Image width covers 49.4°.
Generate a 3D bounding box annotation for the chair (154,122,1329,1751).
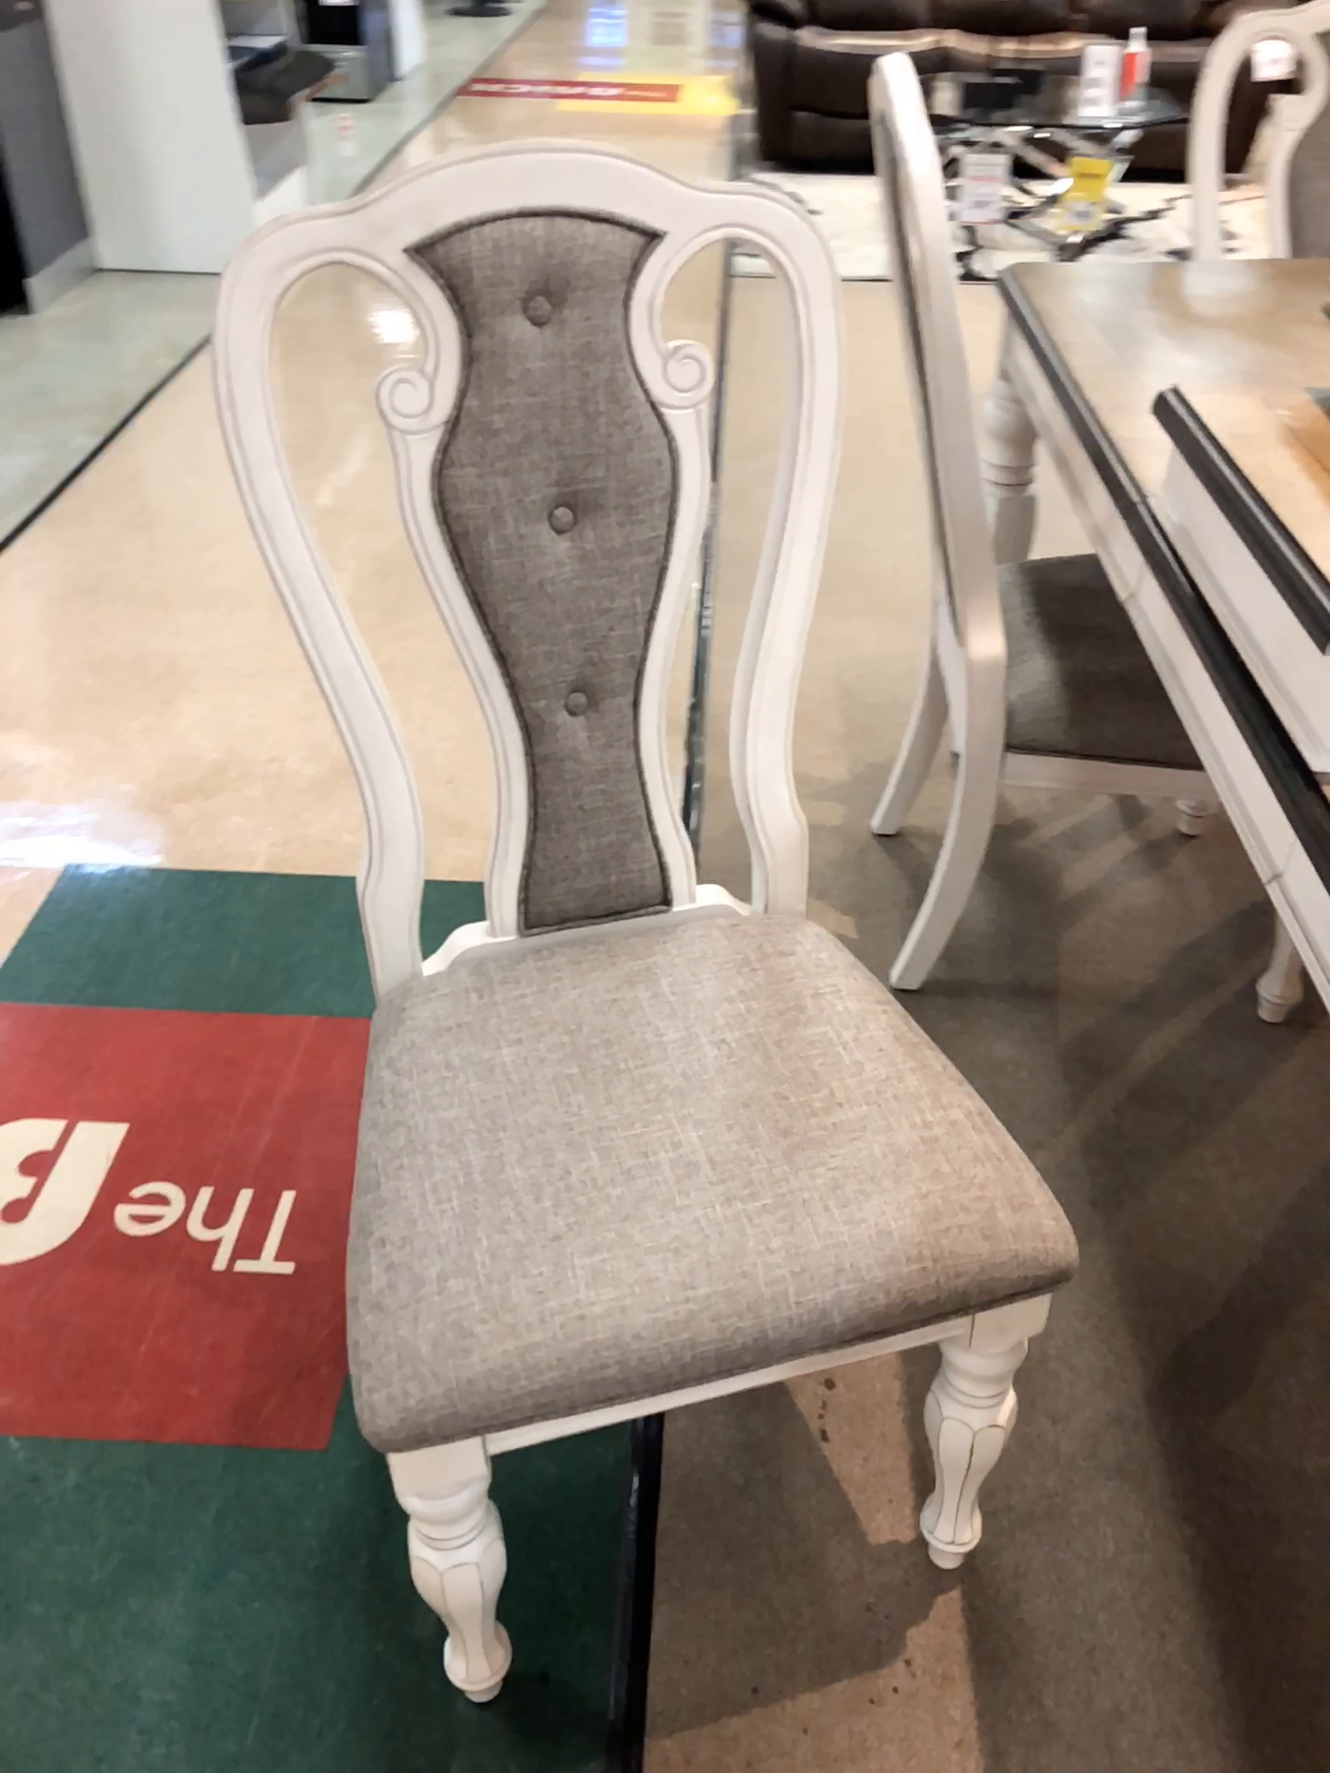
[{"bbox_3d":[-0.012,0.028,1.142,0.550,1.013,0.675,-8,37,-12],"label":"chair"}]
